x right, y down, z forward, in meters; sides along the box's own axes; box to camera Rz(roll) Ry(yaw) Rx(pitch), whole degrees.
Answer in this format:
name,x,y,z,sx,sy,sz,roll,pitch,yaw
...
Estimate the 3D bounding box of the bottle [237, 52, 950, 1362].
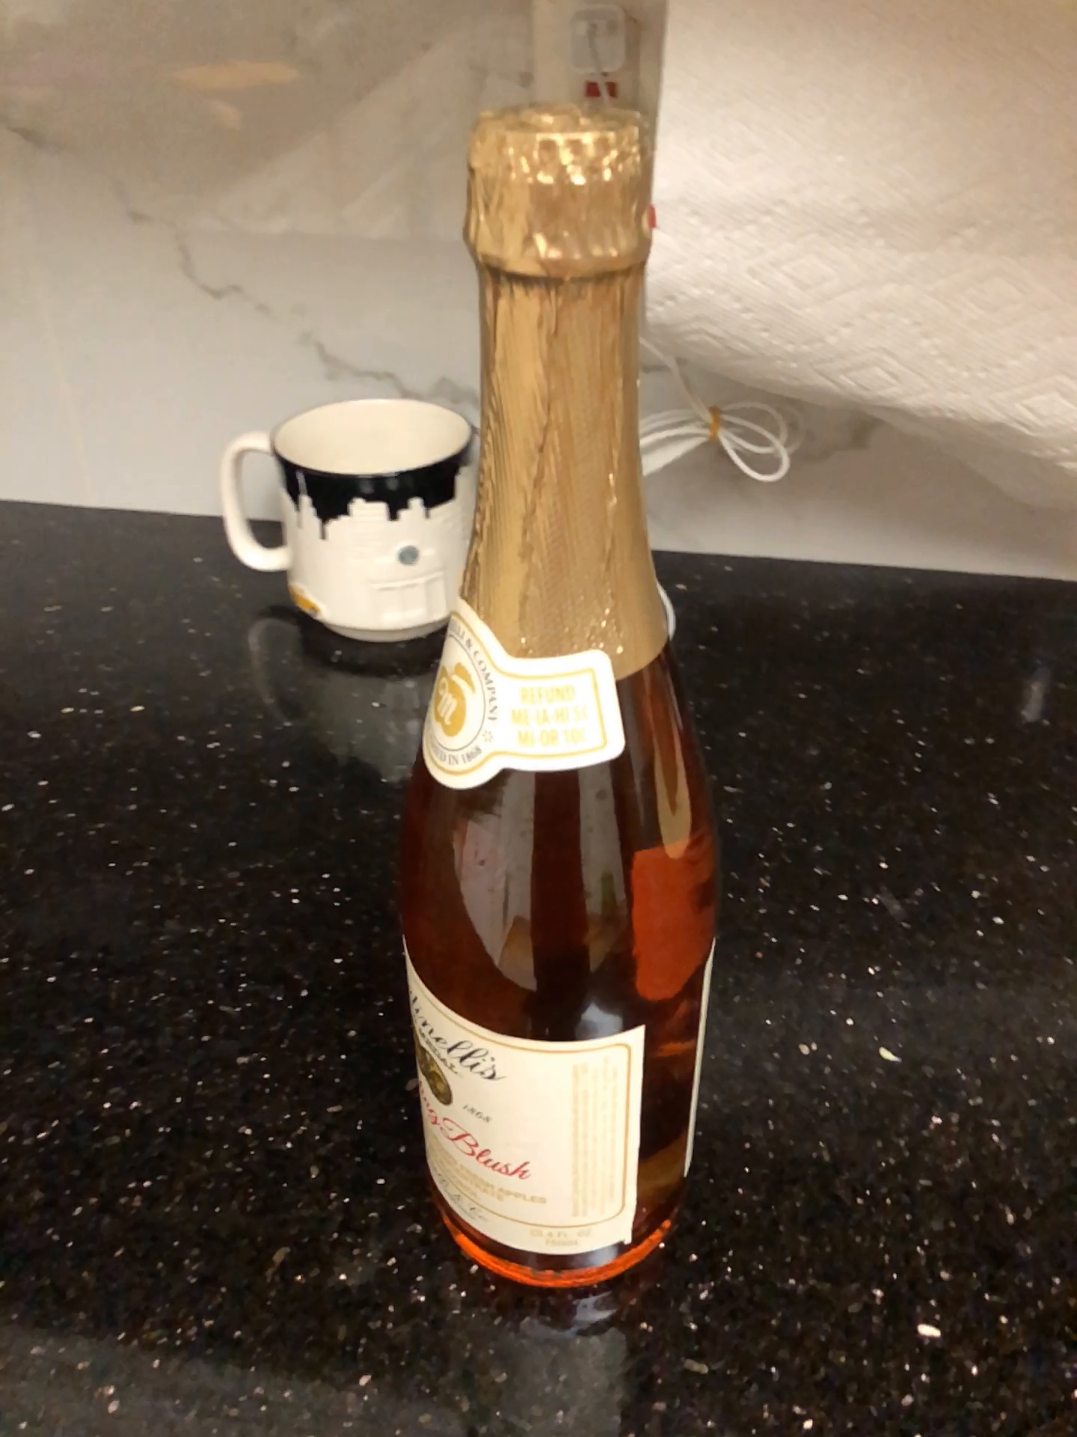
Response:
name,x,y,z,sx,sy,sz,roll,pitch,yaw
bottle,0.004,0.019,0.283,0.090,0.298,0.090,0,36,0
